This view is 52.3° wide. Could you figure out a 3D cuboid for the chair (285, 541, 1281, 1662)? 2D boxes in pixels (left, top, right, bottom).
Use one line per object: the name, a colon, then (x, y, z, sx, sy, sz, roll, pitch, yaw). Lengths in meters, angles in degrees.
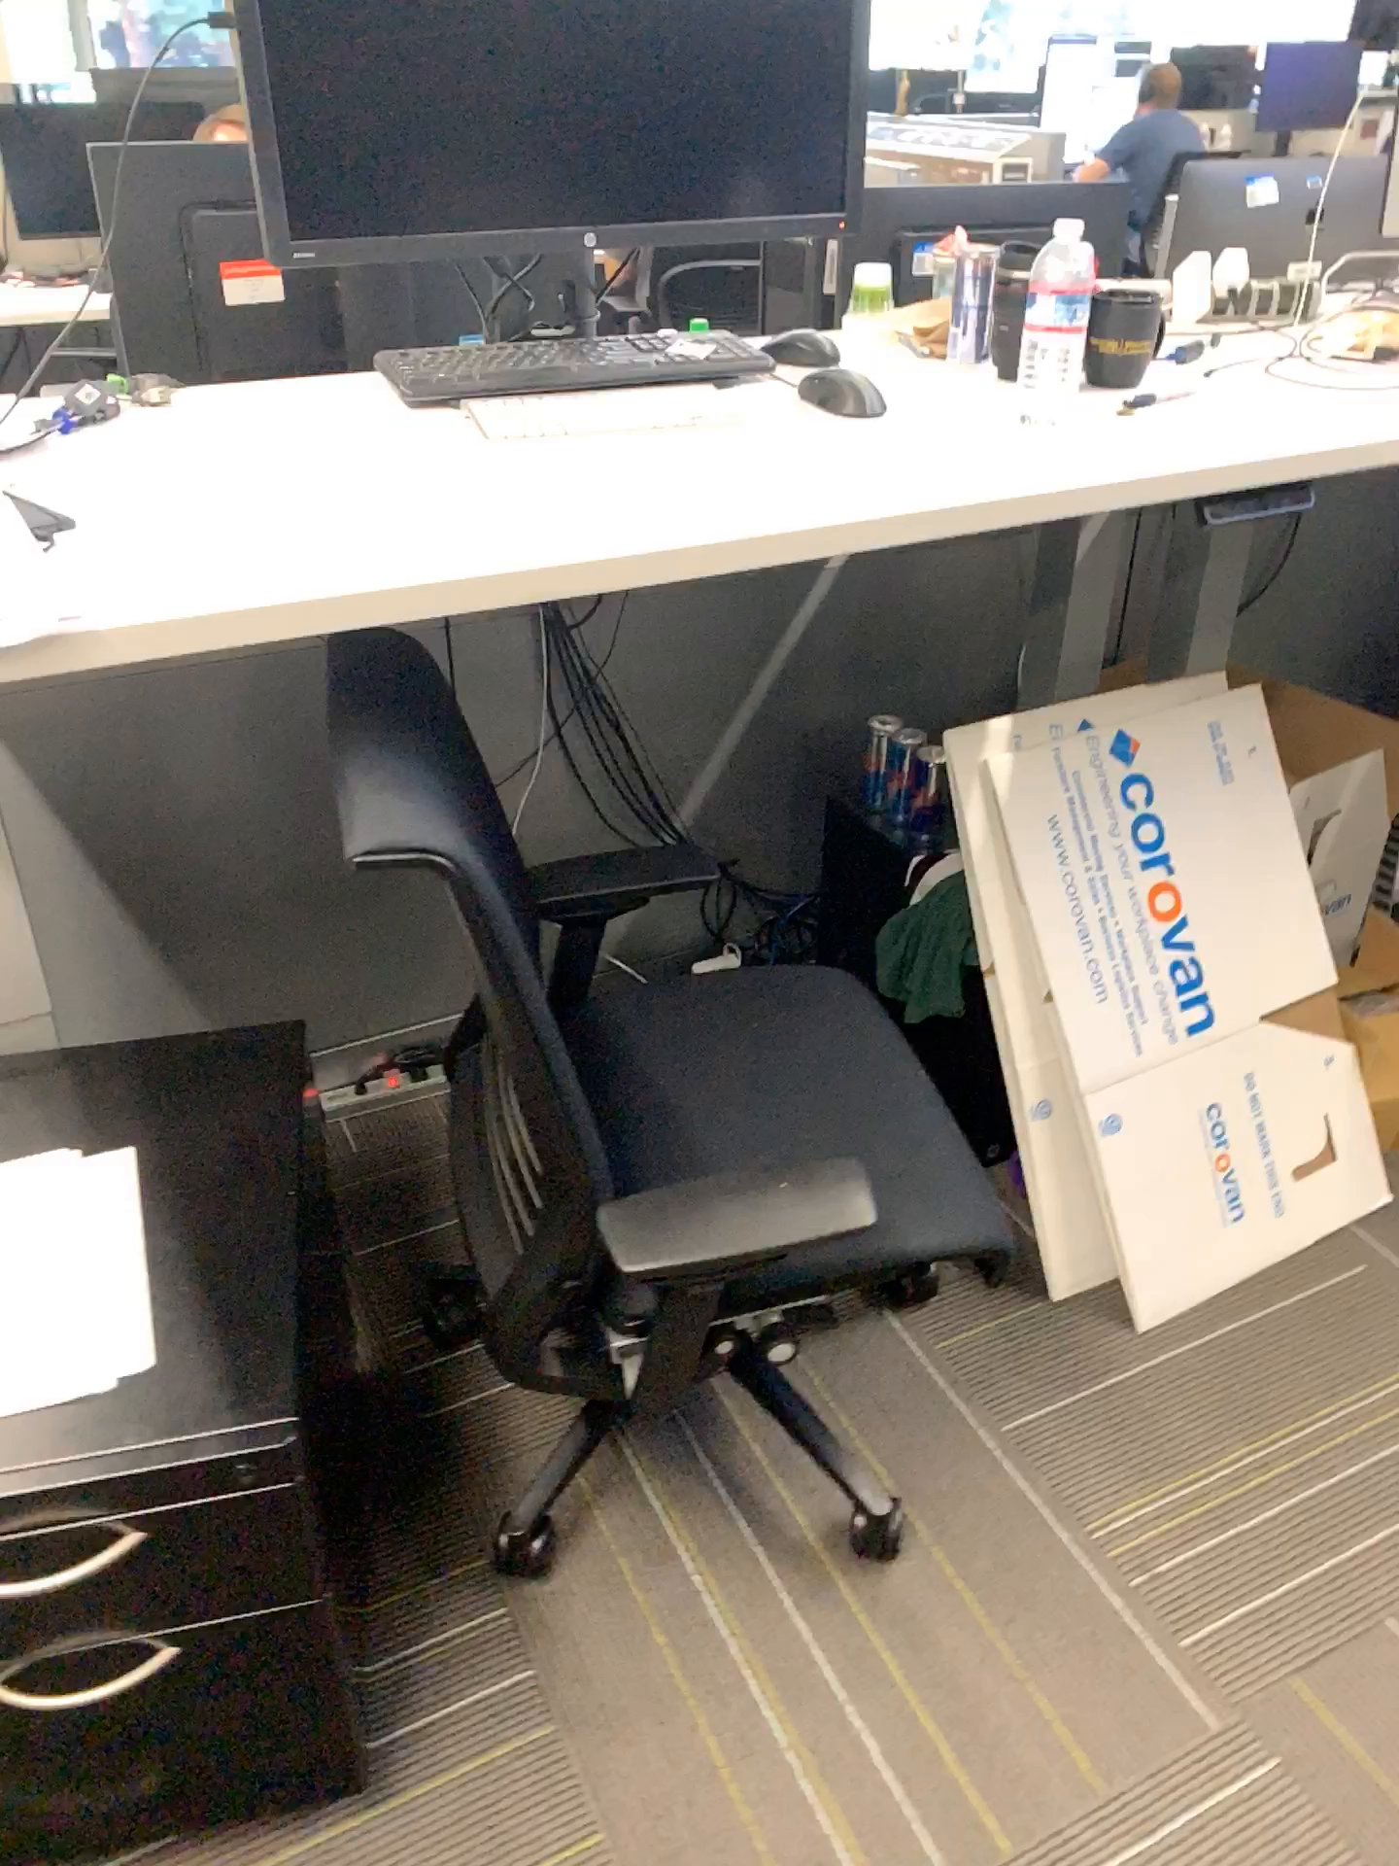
chair: (-0.002, 0.115, 1.536, 0.720, 0.805, 0.785, -6, 33, -10)
